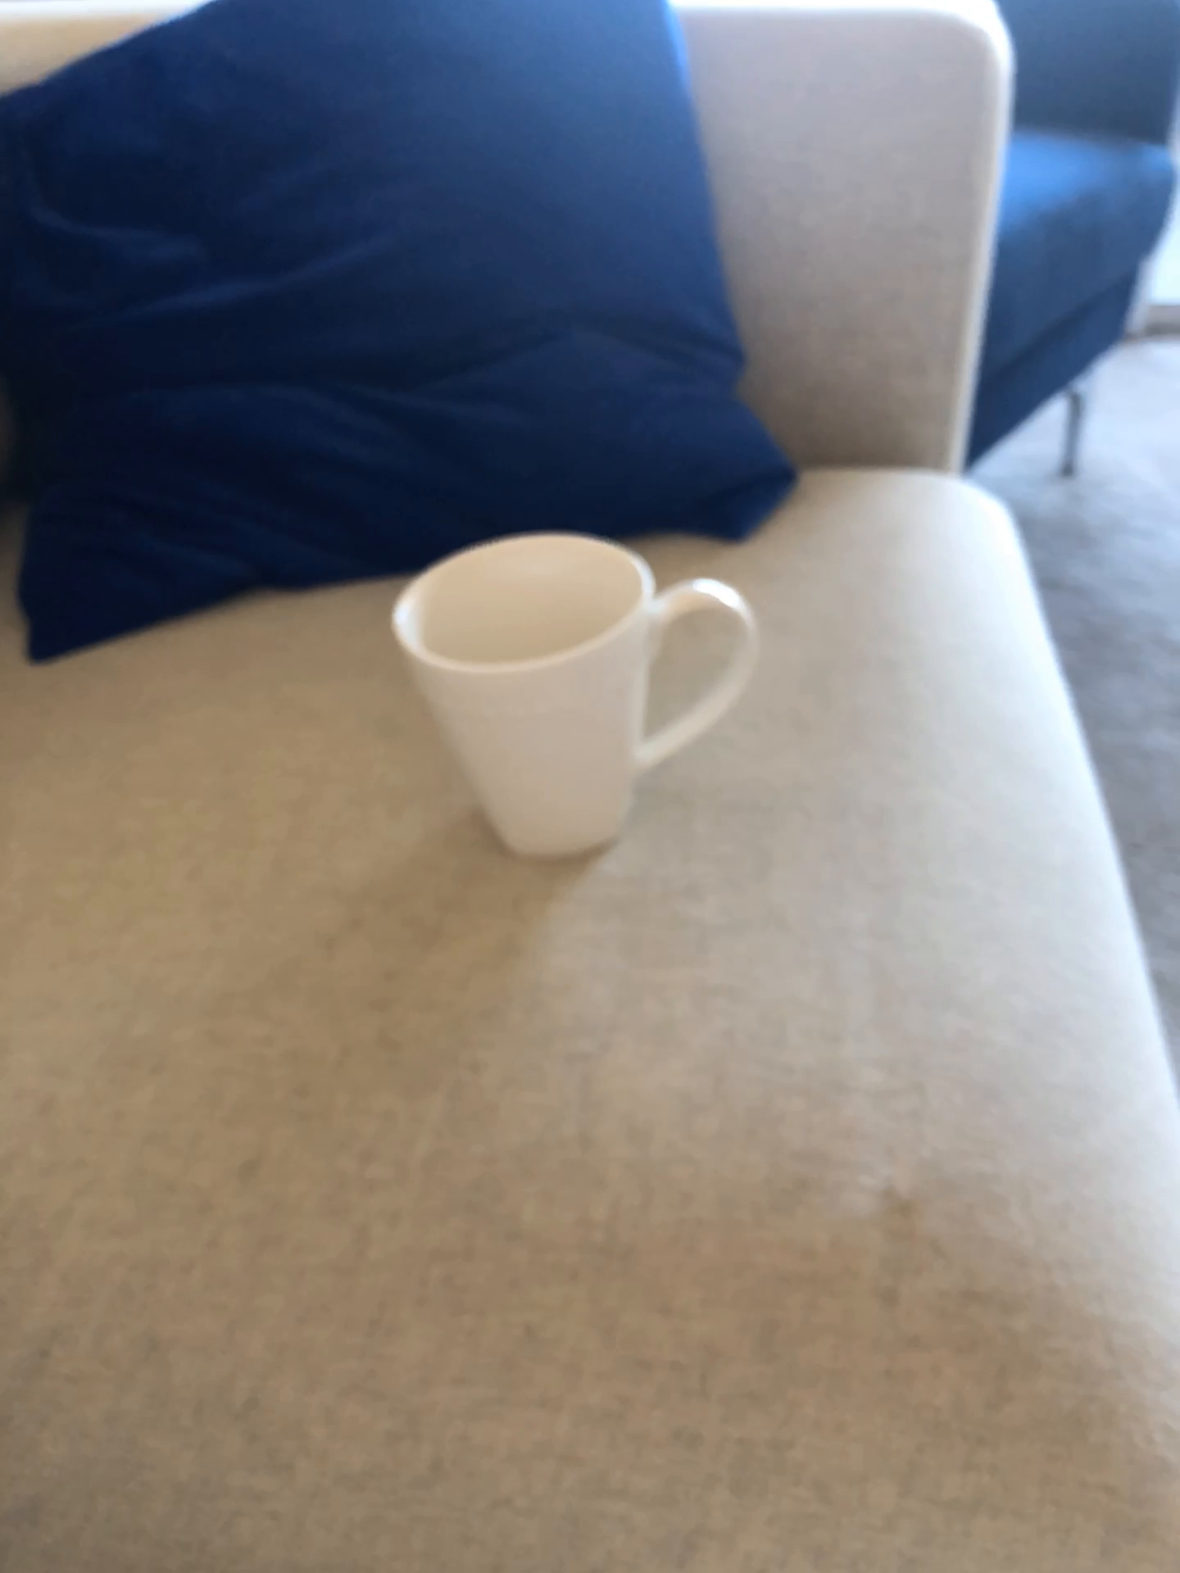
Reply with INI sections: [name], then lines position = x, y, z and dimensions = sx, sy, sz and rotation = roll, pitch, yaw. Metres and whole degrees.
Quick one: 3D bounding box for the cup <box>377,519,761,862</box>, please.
[cup]
position = -0.005, -0.039, 0.519
dimensions = 0.130, 0.090, 0.100
rotation = -1, 36, 2
